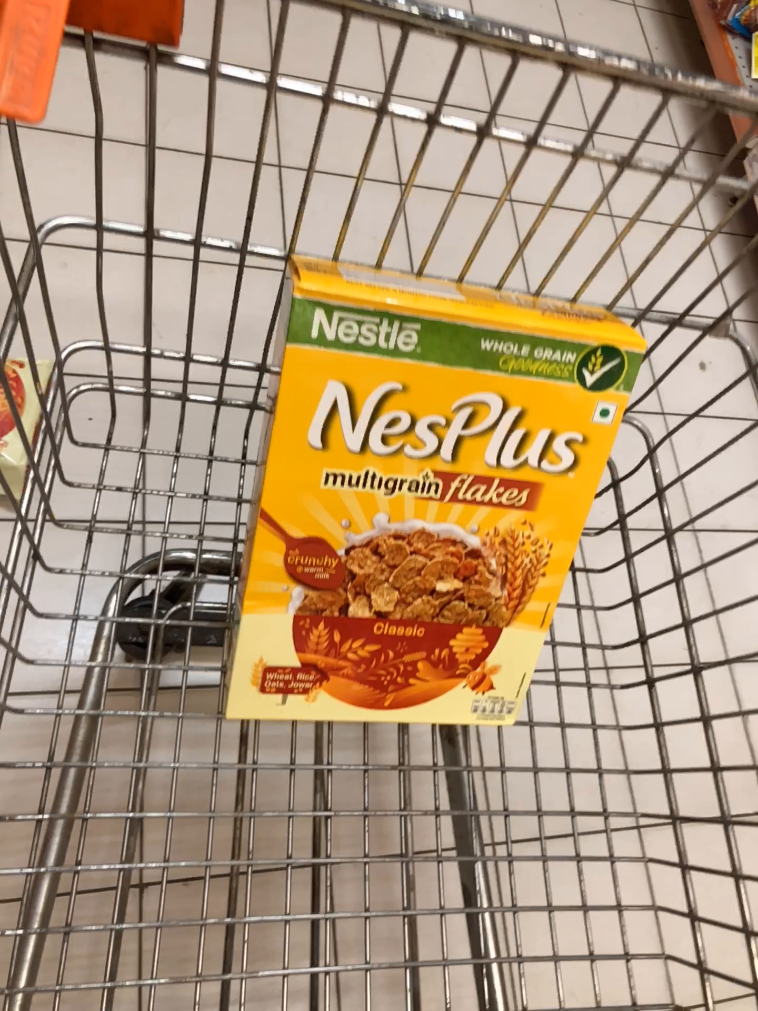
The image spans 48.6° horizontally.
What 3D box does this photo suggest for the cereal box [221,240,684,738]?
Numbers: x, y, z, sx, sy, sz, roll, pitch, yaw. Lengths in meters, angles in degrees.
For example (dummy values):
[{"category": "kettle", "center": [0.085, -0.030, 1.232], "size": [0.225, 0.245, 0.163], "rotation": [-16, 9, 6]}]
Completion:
[{"category": "cereal box", "center": [0.024, 0.002, 0.475], "size": [0.190, 0.249, 0.090], "rotation": [6, 25, -16]}]
